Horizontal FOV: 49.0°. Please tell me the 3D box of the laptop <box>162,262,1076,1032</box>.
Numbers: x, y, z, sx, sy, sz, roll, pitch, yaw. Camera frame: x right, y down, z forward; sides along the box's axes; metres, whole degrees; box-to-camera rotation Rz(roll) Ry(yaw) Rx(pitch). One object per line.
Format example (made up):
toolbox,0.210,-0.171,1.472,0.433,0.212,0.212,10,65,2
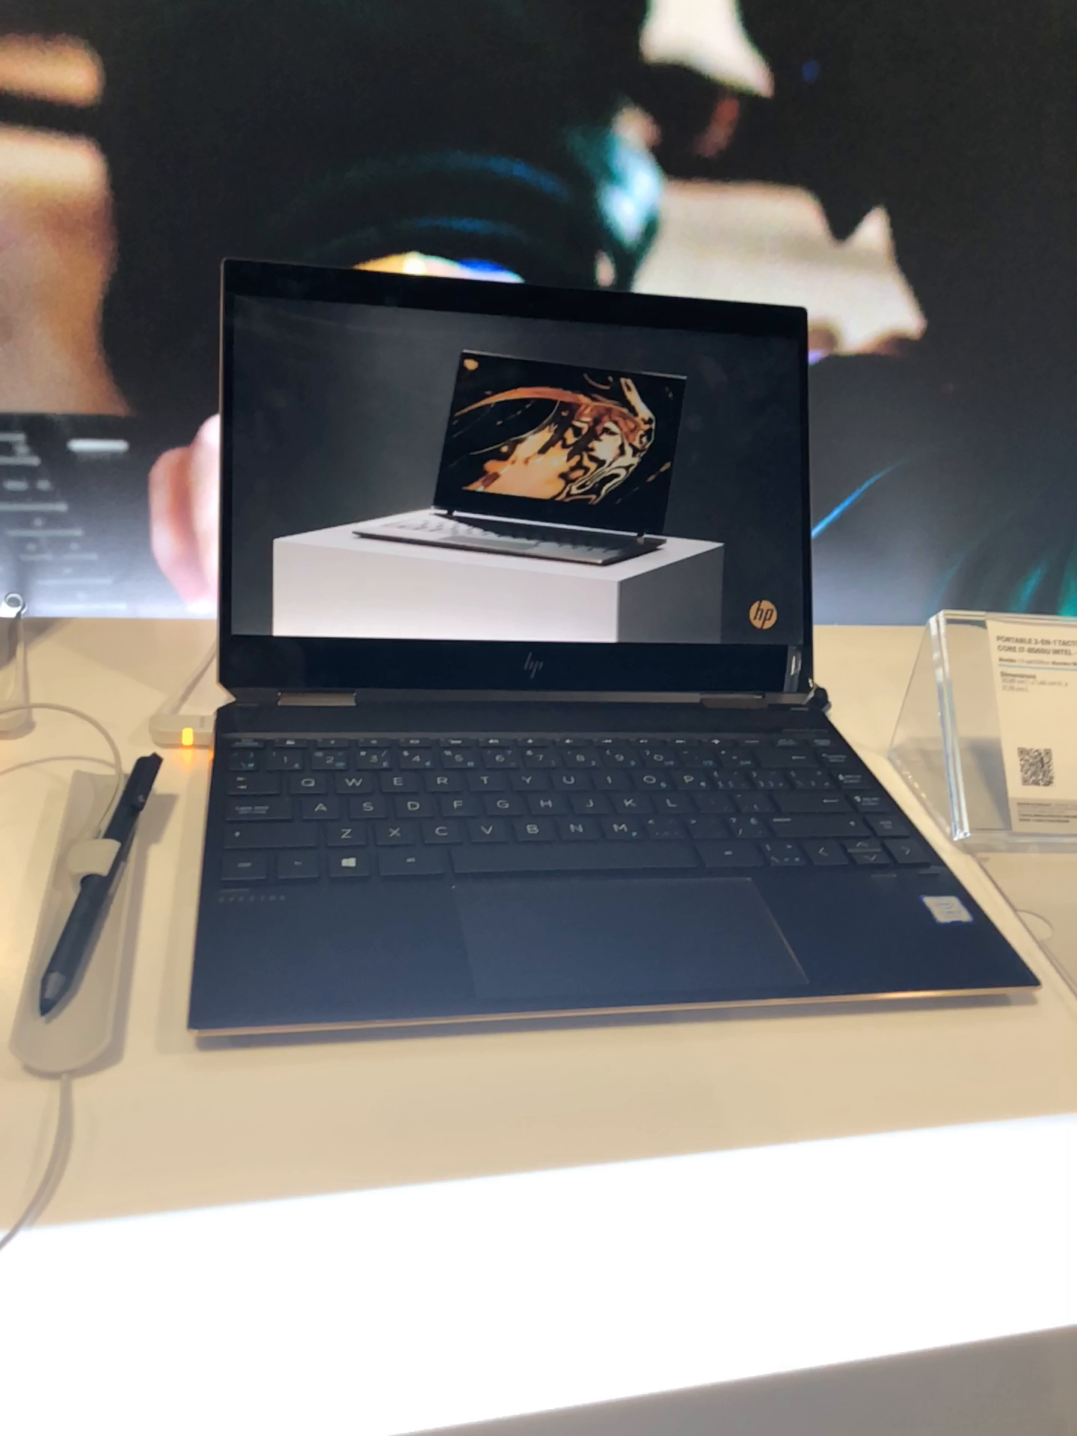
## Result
laptop,0.017,-0.064,0.509,0.305,0.172,0.347,0,30,-13
